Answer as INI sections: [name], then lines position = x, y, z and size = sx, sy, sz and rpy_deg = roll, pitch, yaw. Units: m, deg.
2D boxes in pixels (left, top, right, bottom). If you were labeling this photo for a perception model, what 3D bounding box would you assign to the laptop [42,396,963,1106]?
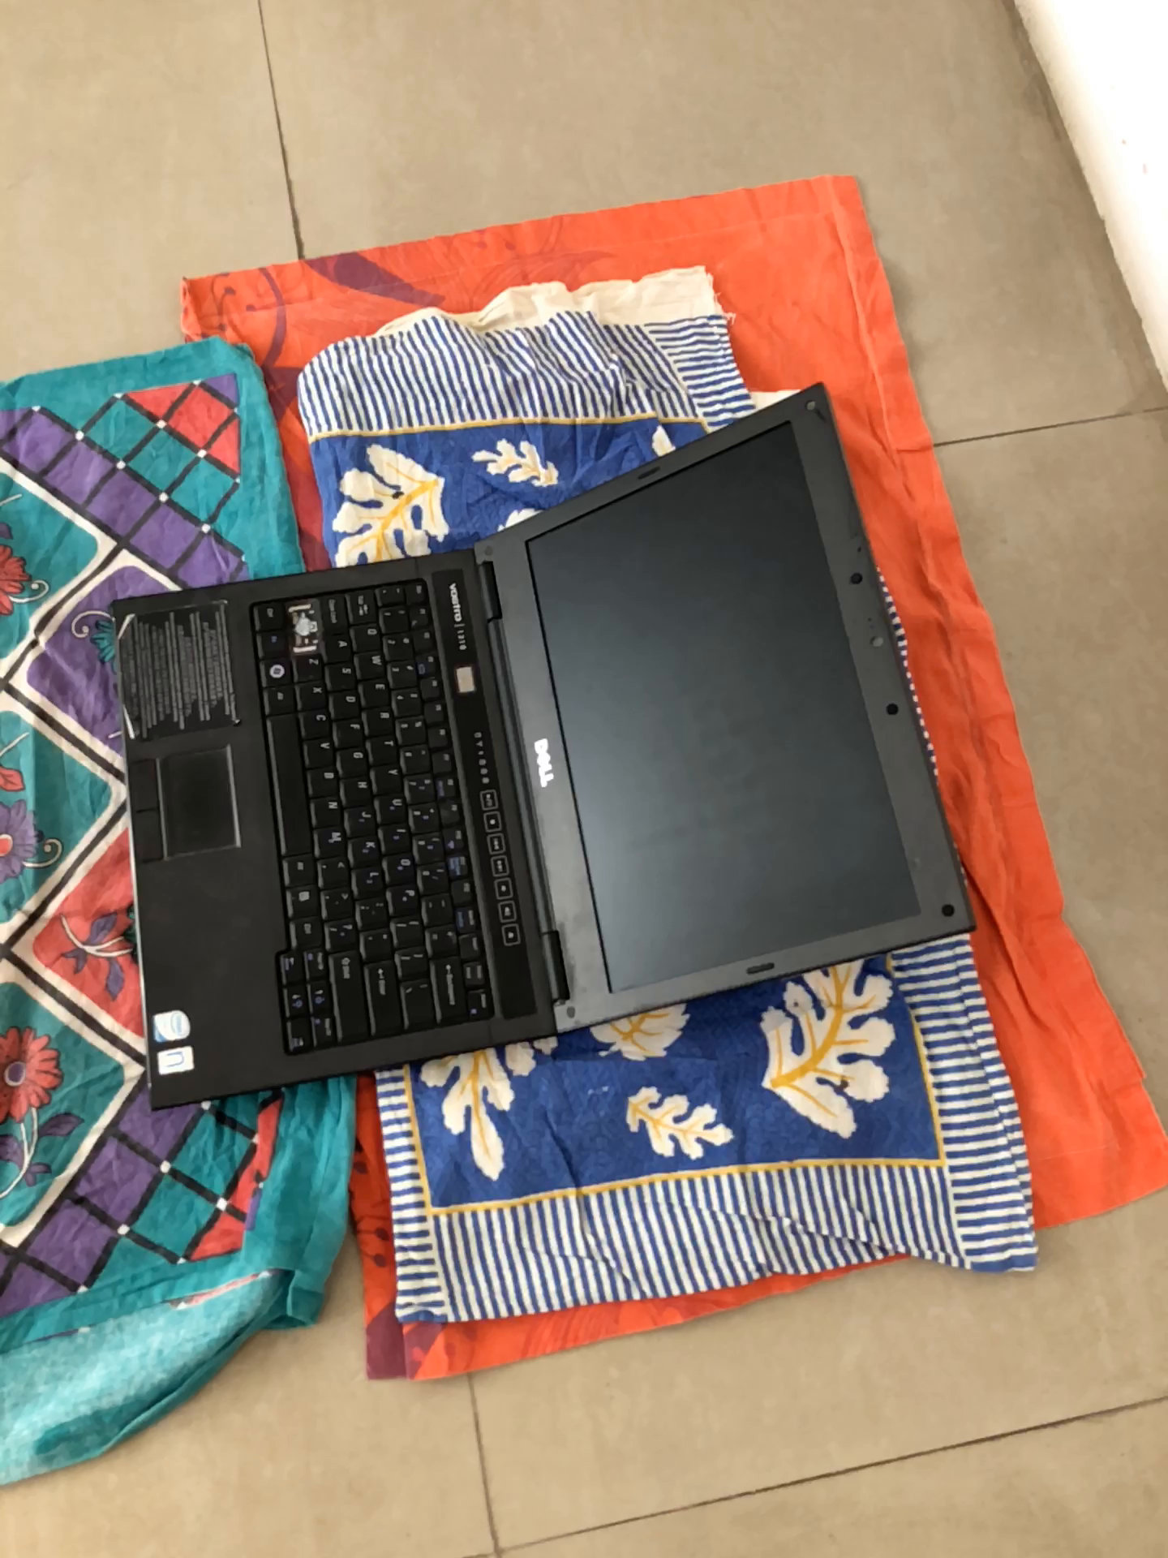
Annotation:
[laptop]
position = -0.051, -0.019, 0.704
size = 0.420, 0.125, 0.306
rpy_deg = -9, 72, -6
